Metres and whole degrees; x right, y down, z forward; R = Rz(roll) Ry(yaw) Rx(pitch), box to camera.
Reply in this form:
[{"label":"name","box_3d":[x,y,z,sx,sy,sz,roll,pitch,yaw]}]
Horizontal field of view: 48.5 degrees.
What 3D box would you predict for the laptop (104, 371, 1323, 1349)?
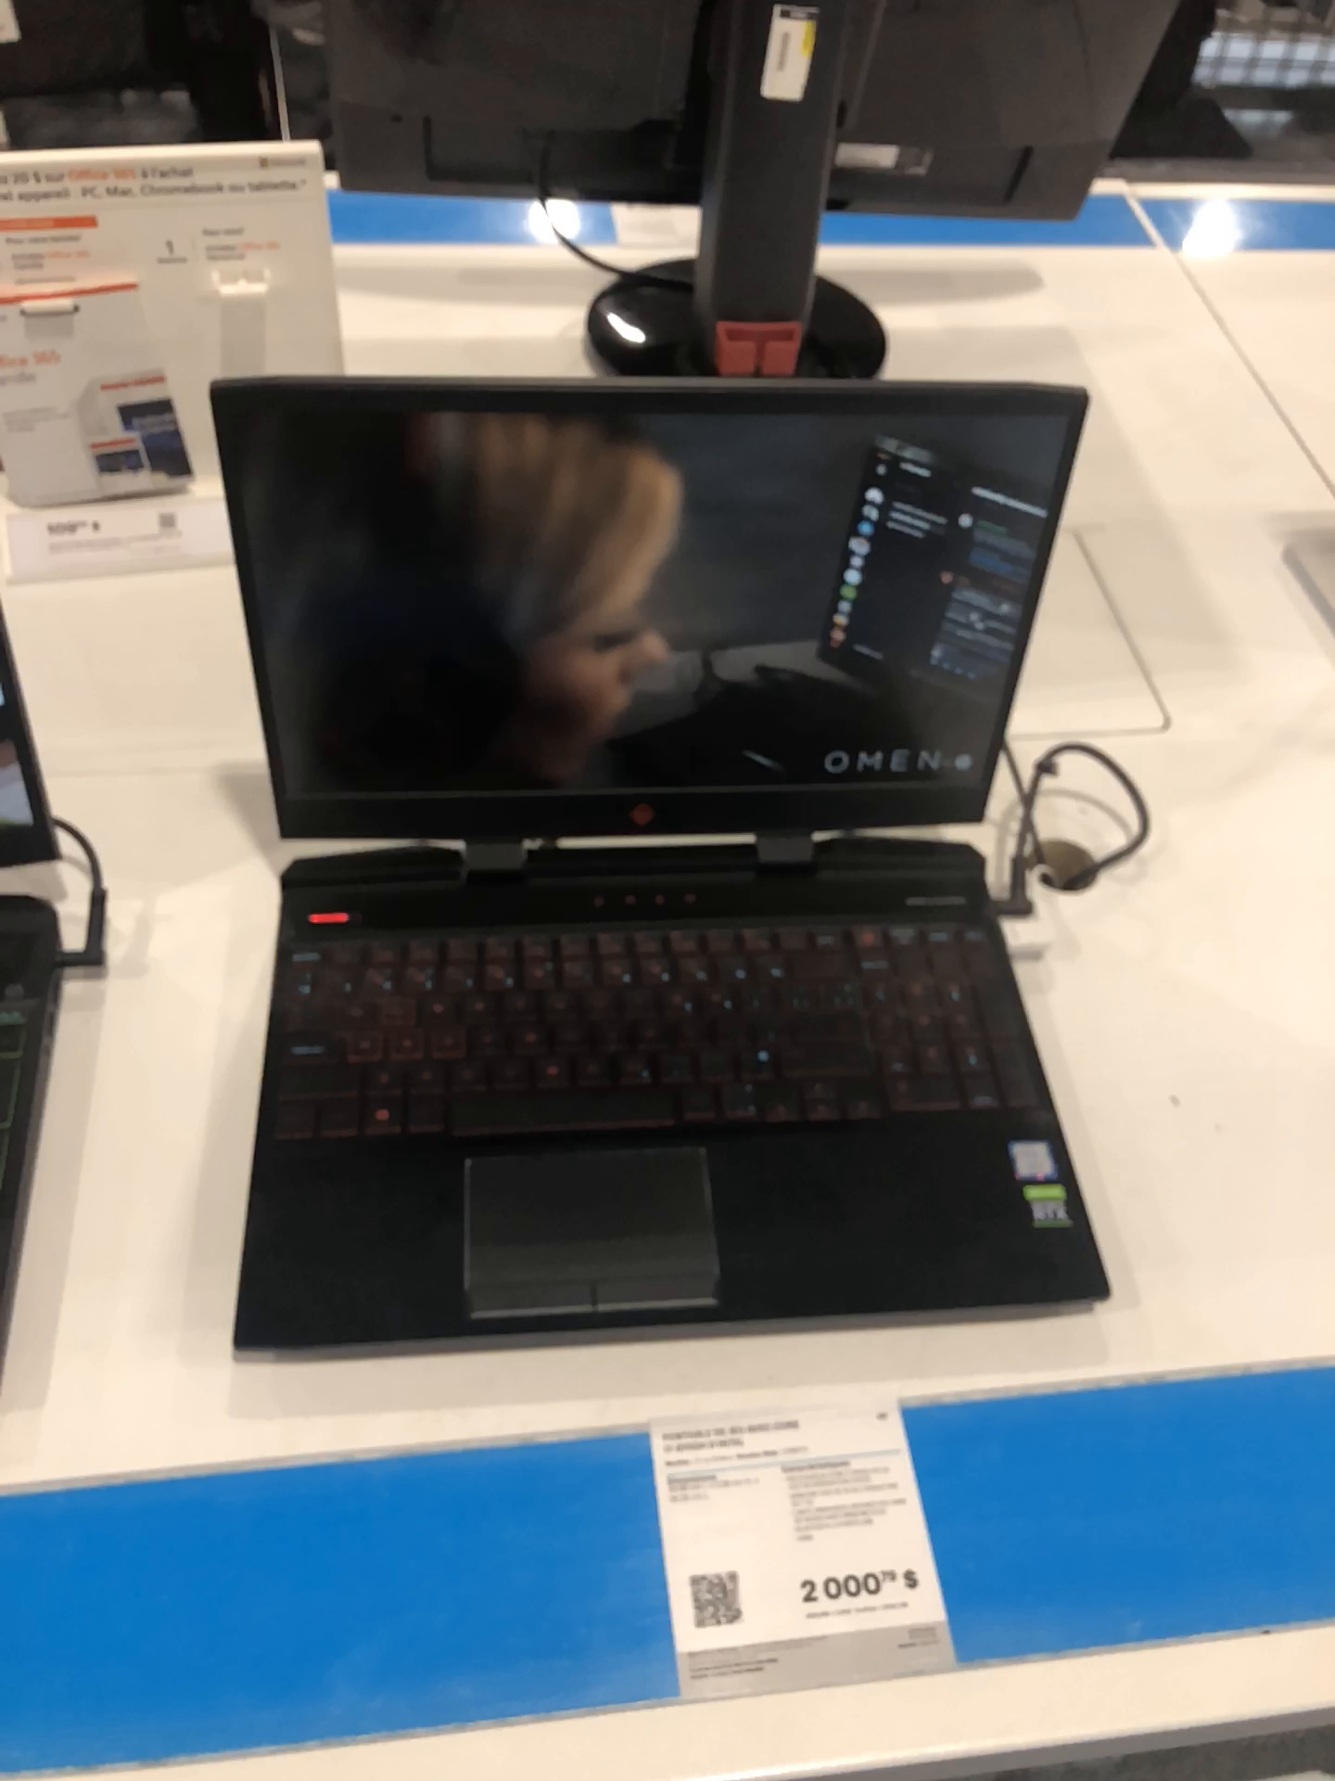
[{"label":"laptop","box_3d":[0.002,-0.019,0.608,0.355,0.239,0.294,-2,51,-7]}]
